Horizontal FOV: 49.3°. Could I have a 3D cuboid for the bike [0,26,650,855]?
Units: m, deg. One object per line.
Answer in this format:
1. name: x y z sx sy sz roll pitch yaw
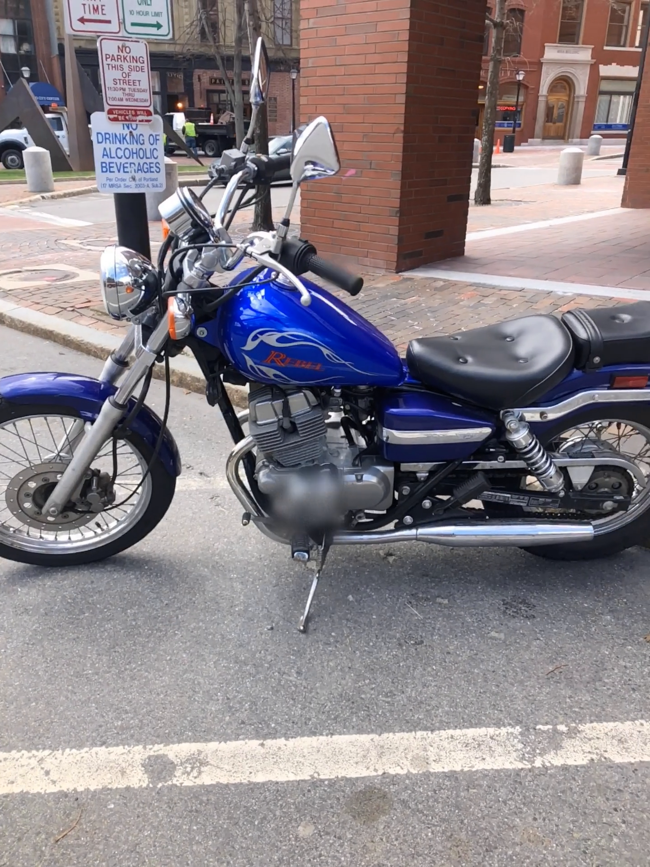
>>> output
1. bike: 0.103 -0.041 1.591 2.025 1.179 0.929 0 22 -11
